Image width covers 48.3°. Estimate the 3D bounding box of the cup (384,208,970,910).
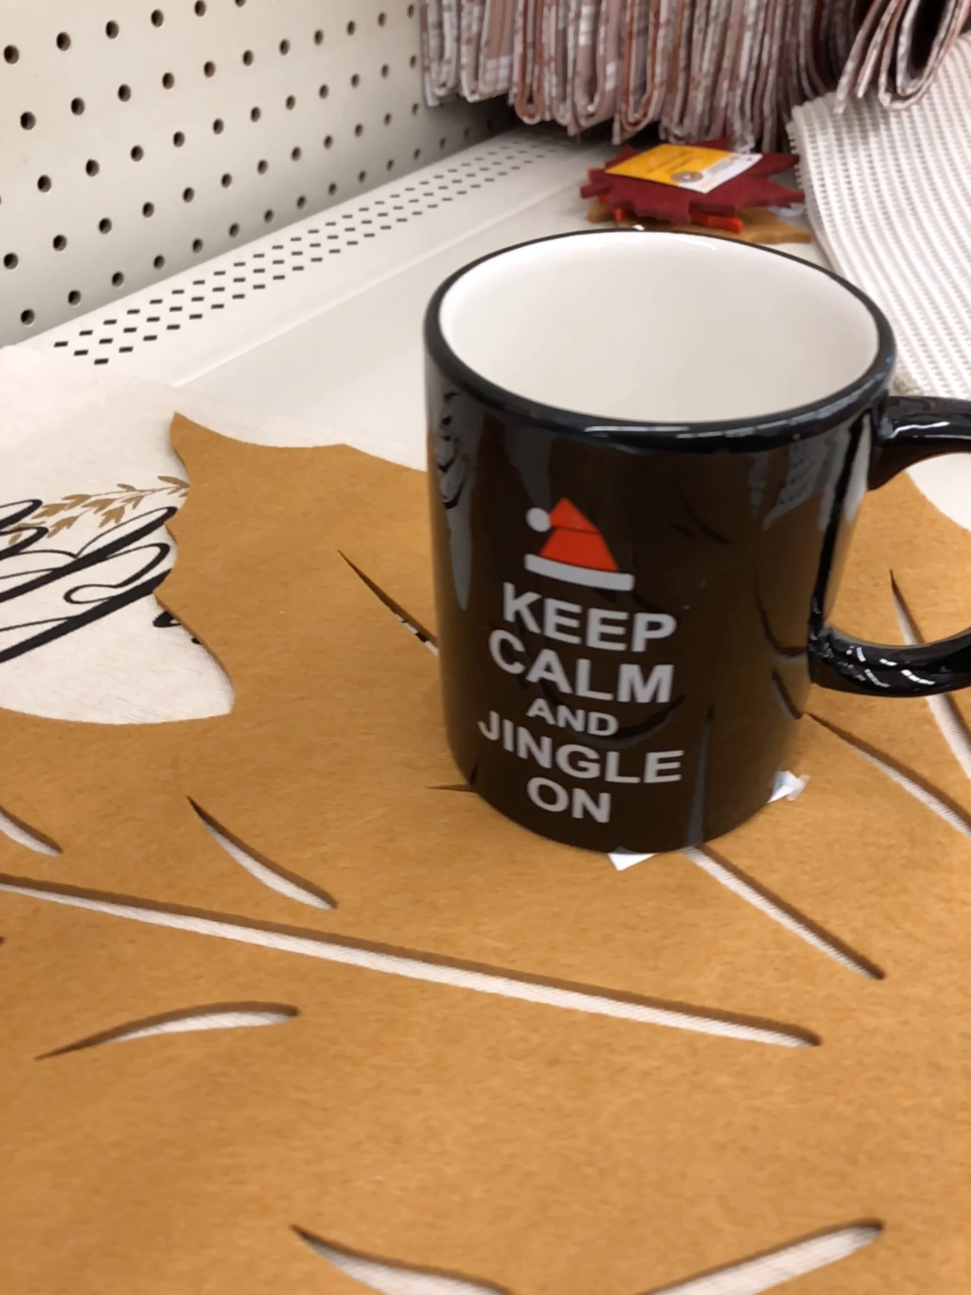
[{"bbox_3d":[0.055,-0.020,0.233,0.130,0.110,0.090,4,41,6],"label":"cup"}]
